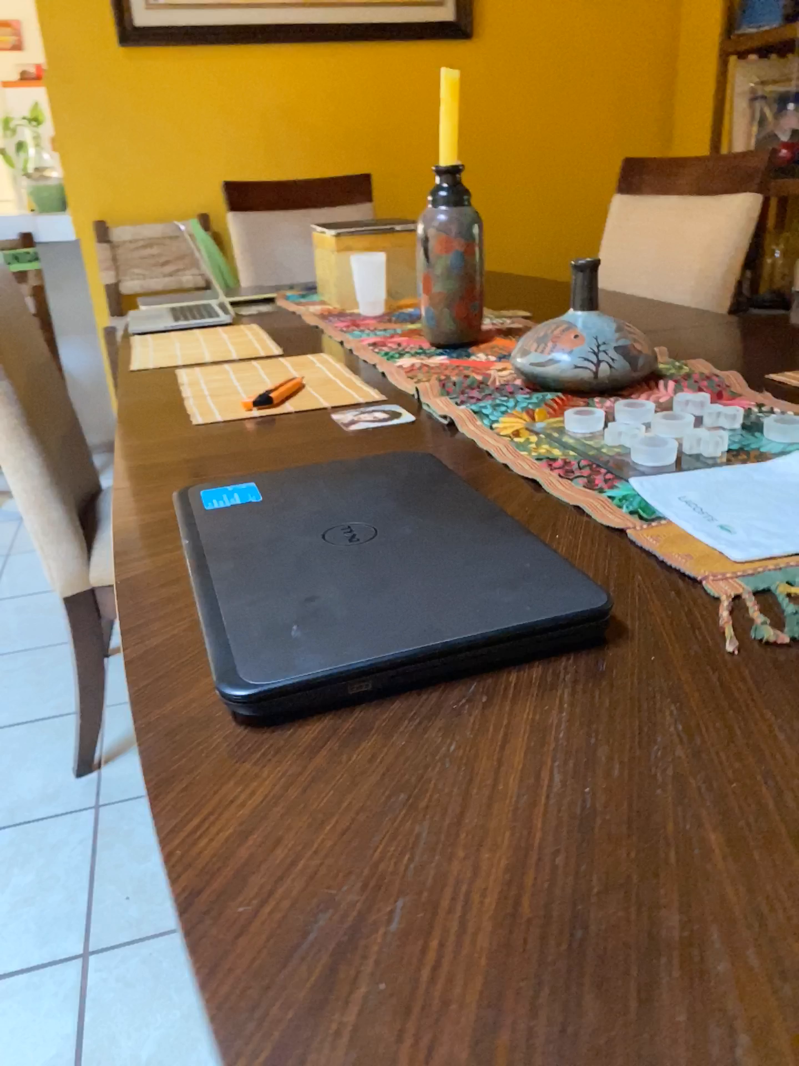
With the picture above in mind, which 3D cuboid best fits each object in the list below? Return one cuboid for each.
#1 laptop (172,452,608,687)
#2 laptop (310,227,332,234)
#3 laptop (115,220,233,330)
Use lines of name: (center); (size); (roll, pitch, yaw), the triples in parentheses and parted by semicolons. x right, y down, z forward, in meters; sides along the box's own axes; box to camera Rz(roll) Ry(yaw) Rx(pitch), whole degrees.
laptop: (-0.040, 0.002, 0.653); (0.248, 0.001, 0.354); (-10, 25, -16)
laptop: (-0.184, -0.703, 1.903); (0.002, 0.003, 0.281); (-36, 27, 0)
laptop: (-0.522, -0.602, 1.883); (0.216, 0.194, 0.319); (-10, 24, -13)
